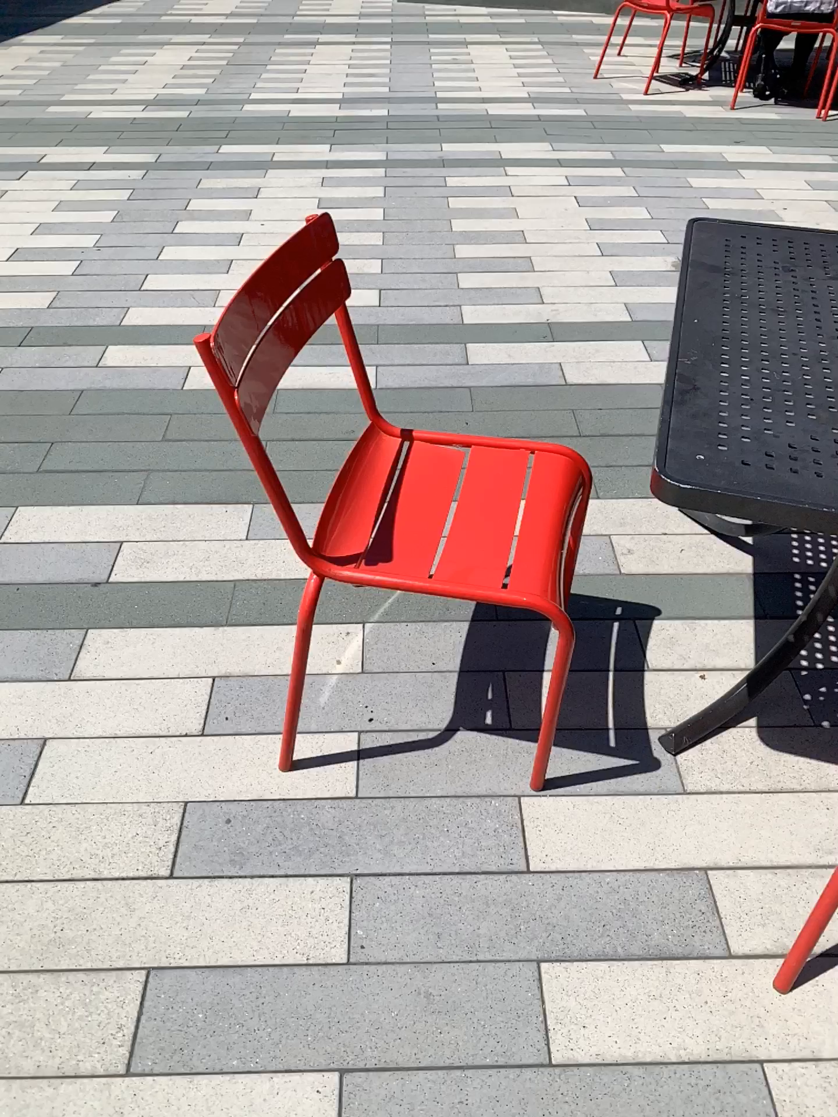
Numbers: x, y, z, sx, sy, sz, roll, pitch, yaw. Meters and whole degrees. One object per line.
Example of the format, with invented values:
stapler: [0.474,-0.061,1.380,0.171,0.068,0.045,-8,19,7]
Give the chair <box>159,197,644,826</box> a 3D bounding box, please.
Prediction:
chair: [0.018,-0.075,1.493,0.580,0.845,0.583,8,41,8]
